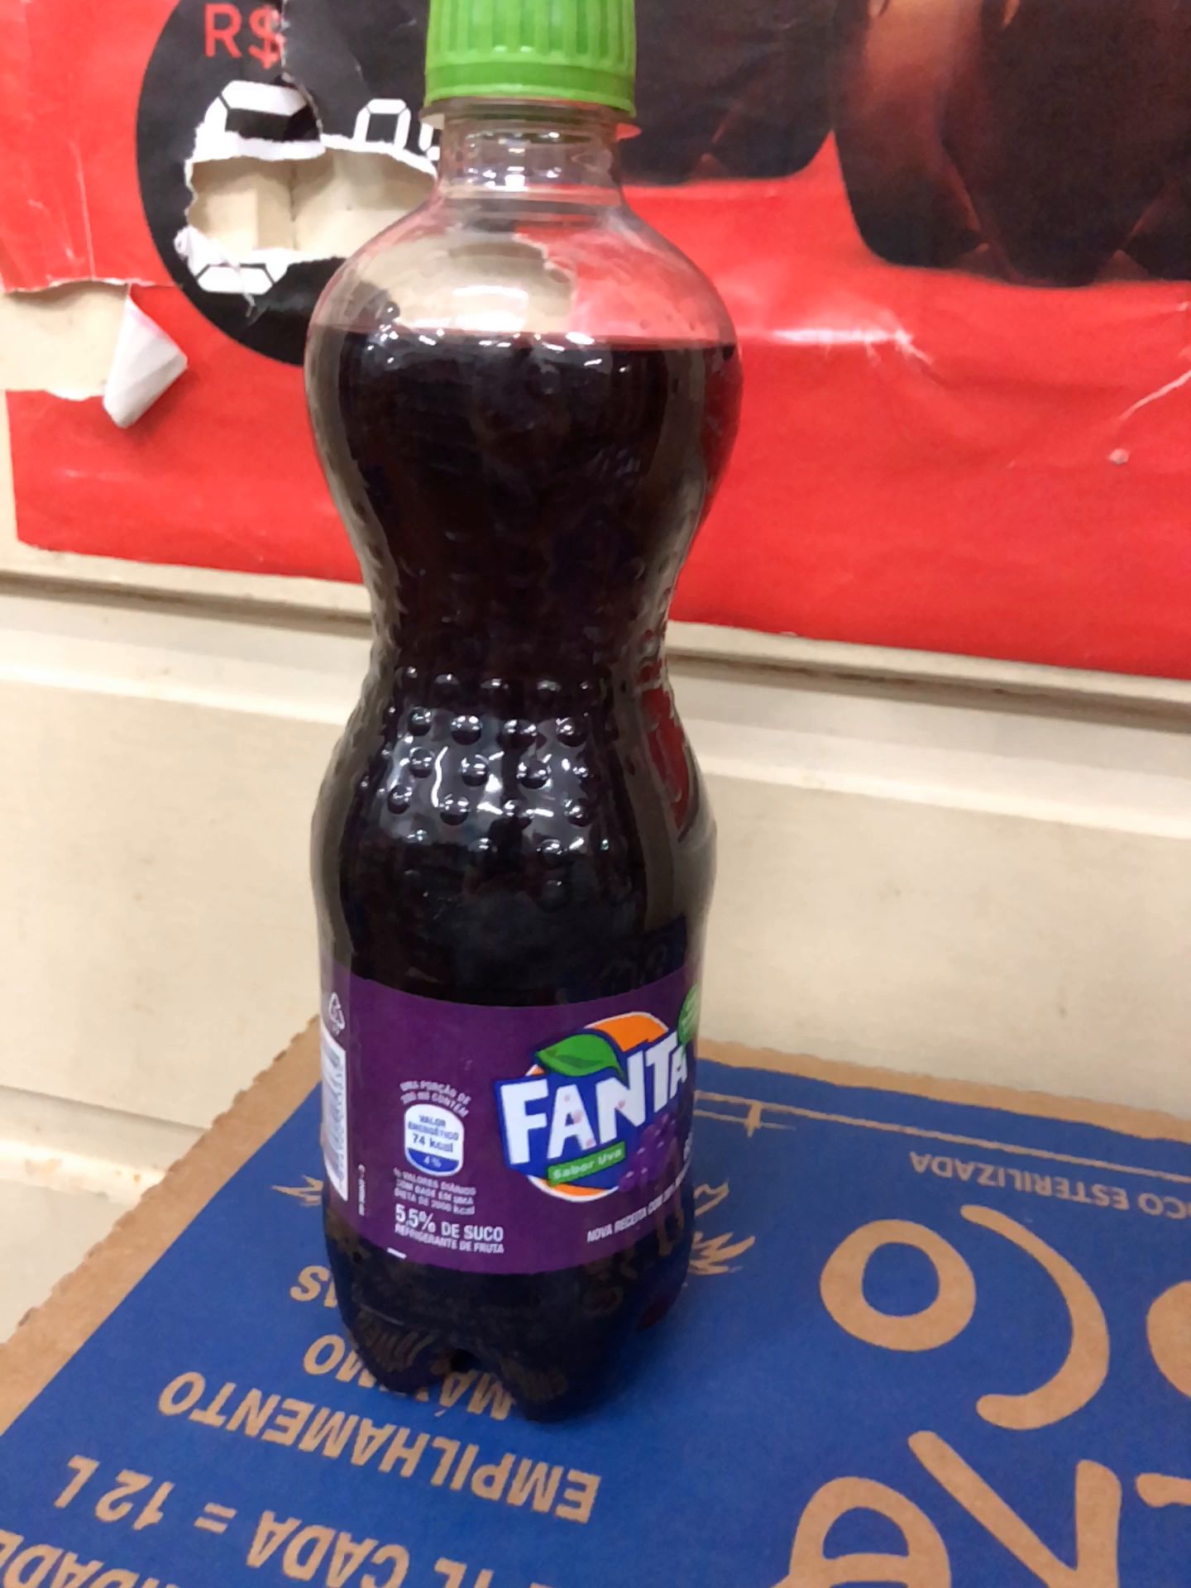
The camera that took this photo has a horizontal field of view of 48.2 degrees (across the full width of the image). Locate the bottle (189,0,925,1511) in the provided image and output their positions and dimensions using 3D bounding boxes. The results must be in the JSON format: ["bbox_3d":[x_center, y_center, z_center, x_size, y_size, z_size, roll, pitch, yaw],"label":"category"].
[{"bbox_3d":[-0.013,-0.011,0.225,0.080,0.229,0.070,-9,21,-33],"label":"bottle"}]
